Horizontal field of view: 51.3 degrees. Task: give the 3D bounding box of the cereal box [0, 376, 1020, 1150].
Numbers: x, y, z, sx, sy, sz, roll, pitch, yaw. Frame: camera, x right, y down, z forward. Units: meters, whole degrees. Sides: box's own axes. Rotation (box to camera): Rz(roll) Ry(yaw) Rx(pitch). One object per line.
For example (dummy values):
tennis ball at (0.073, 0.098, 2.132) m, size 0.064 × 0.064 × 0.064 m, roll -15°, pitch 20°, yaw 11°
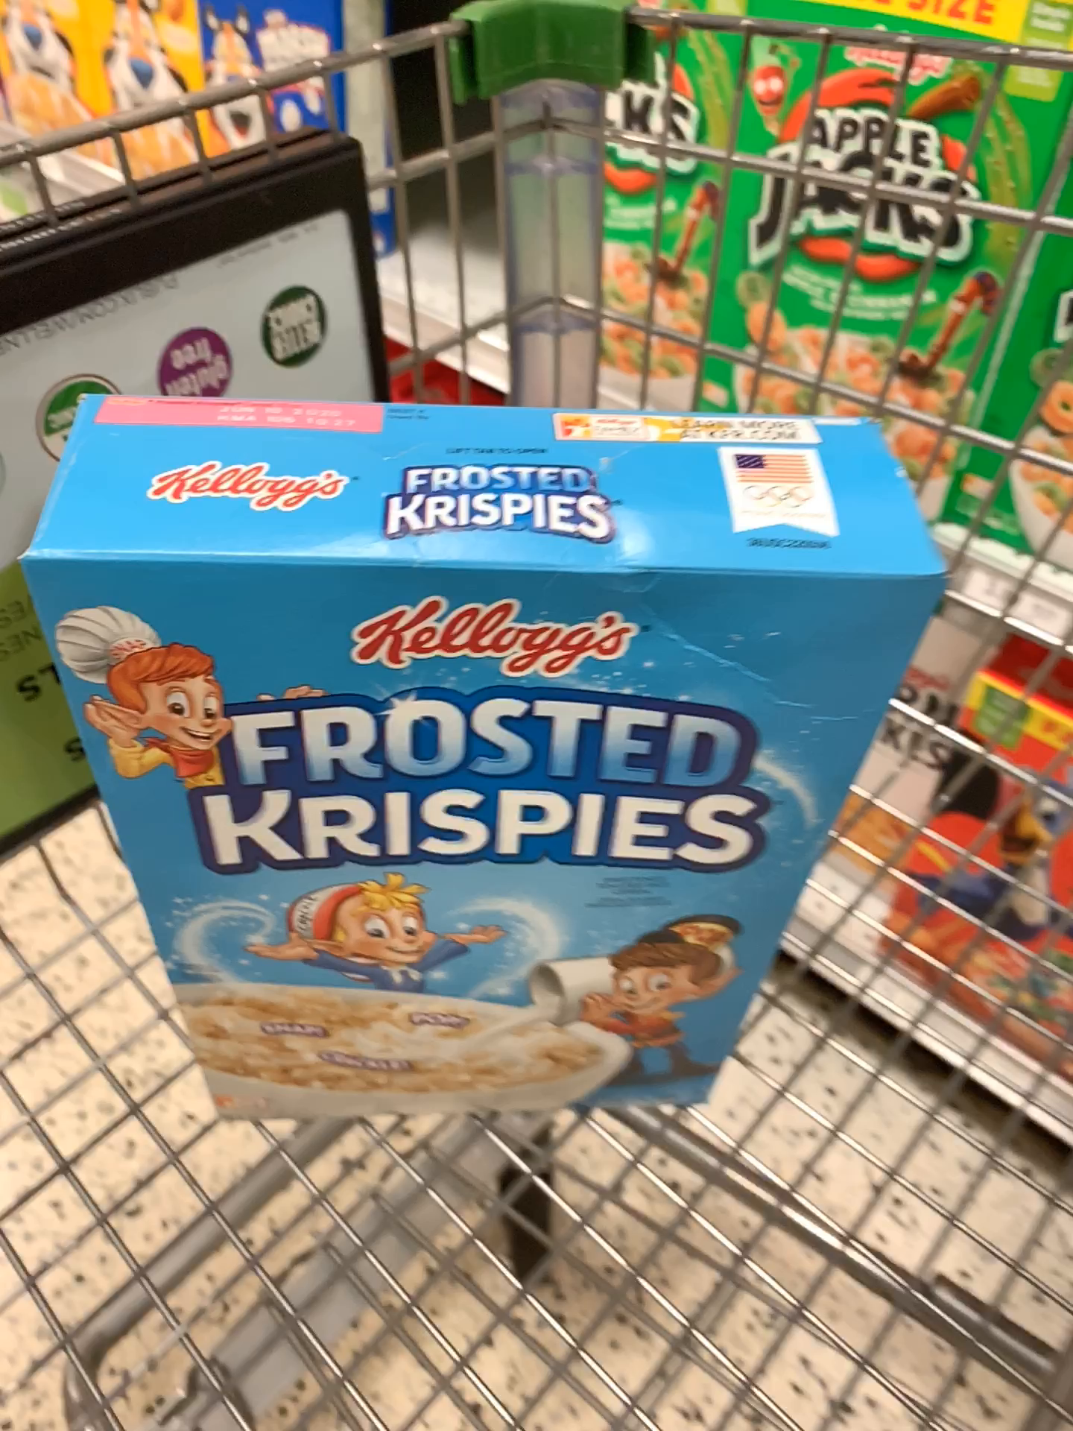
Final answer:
cereal box at (-0.014, 0.051, 0.353) m, size 0.200 × 0.317 × 0.061 m, roll 1°, pitch 50°, yaw -3°
